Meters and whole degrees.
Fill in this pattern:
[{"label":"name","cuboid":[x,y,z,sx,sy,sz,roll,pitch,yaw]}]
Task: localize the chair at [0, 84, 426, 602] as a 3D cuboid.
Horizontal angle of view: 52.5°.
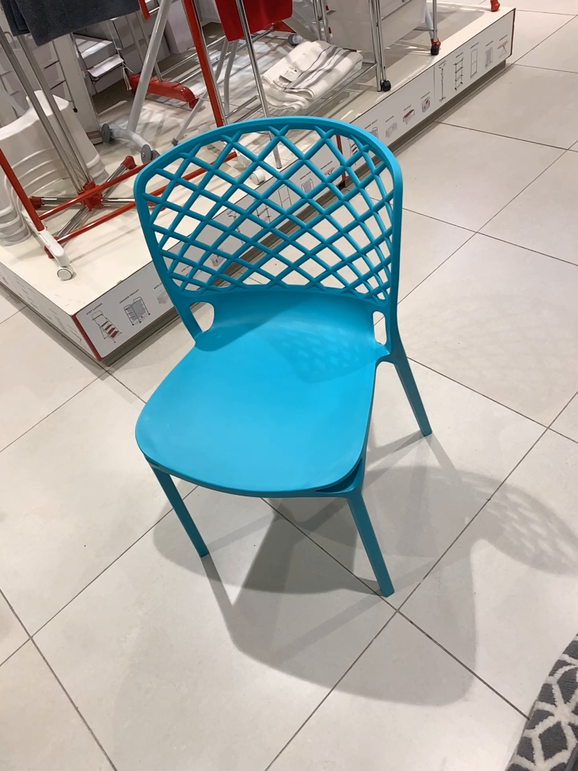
[{"label":"chair","cuboid":[-0.055,-0.038,1.144,0.561,0.797,0.521,5,51,18]}]
